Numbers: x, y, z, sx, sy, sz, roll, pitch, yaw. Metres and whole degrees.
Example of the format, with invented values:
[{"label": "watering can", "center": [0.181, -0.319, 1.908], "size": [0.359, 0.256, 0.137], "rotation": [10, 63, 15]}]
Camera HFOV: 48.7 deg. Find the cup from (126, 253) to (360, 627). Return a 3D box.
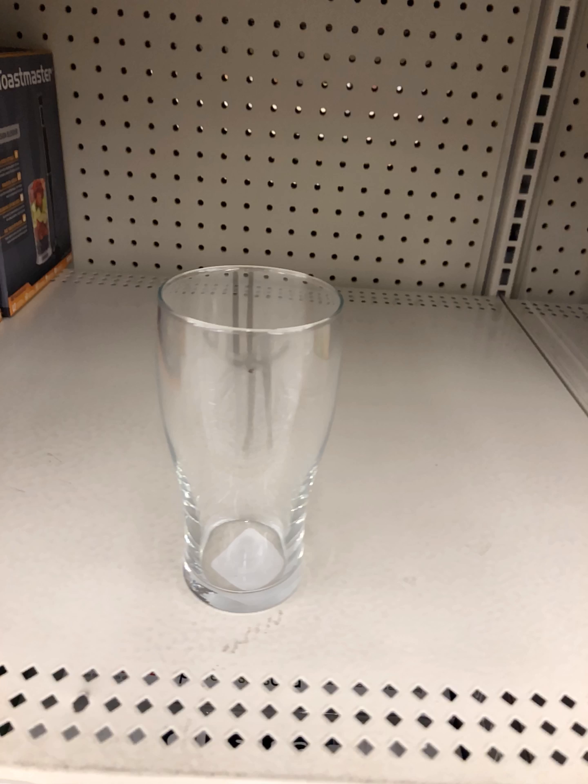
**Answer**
[{"label": "cup", "center": [-0.019, 0.020, 0.298], "size": [0.076, 0.138, 0.081], "rotation": [3, 28, -1]}]
